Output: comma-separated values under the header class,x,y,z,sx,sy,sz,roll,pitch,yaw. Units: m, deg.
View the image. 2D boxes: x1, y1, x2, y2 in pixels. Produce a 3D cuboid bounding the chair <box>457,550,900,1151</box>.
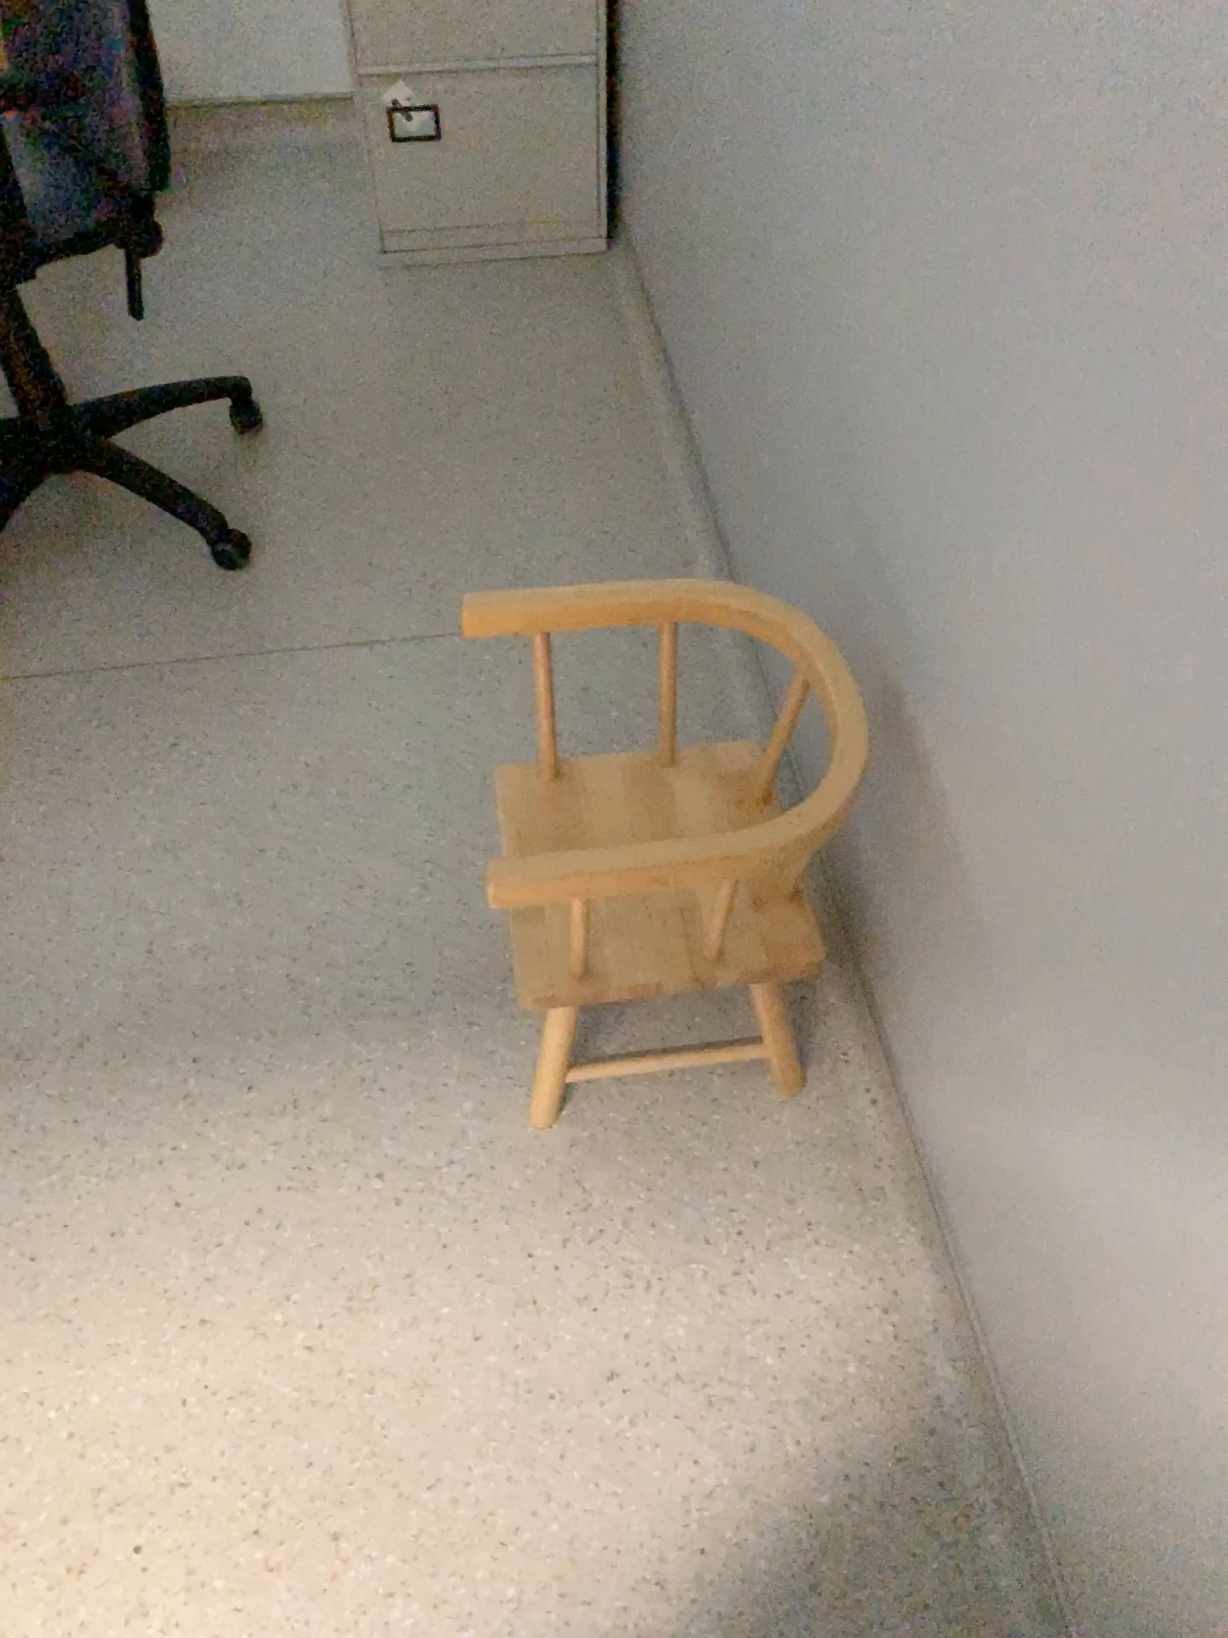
class,x,y,z,sx,sy,sz,roll,pitch,yaw
chair,0.039,0.046,1.262,0.342,0.481,0.364,-4,50,-3
